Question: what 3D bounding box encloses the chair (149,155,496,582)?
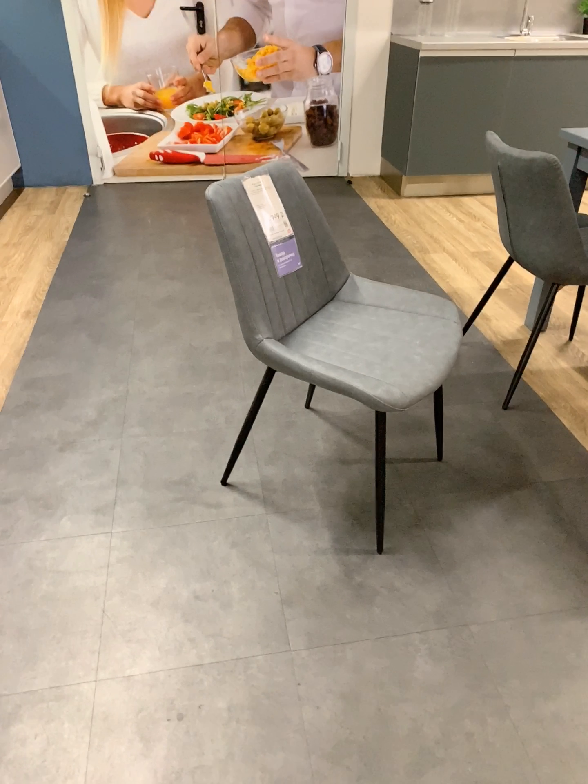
[{"bbox_3d":[0.077,-0.090,1.566,0.589,0.833,0.525,20,38,26],"label":"chair"}]
